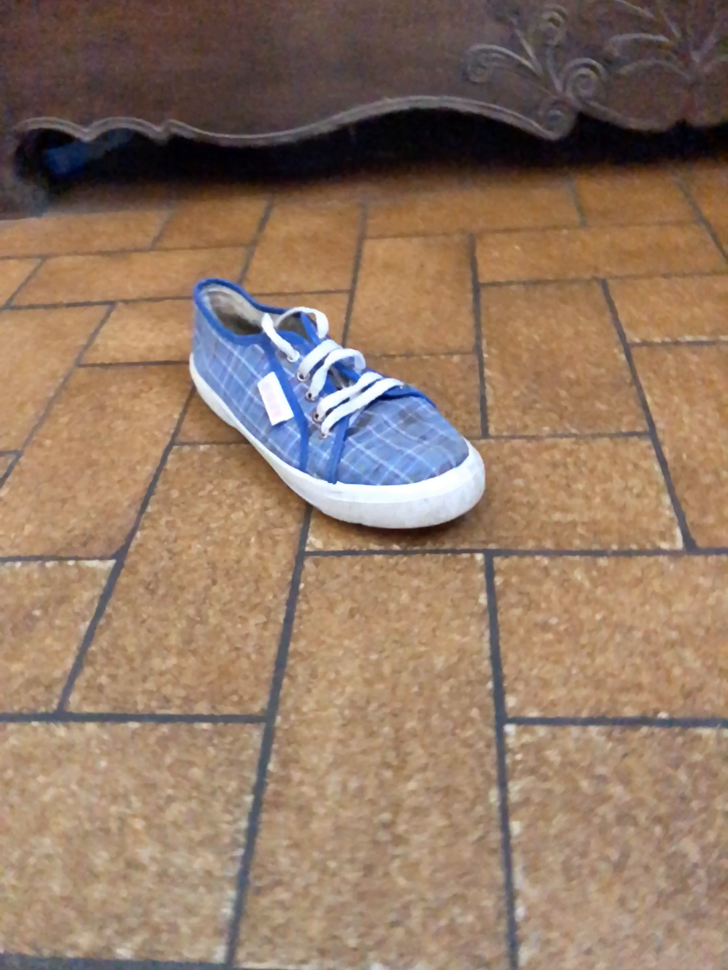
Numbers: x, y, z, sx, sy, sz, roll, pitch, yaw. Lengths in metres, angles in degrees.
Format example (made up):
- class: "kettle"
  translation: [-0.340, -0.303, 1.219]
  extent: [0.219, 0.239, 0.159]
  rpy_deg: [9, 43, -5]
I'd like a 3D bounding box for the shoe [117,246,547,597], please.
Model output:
- class: "shoe"
  translation: [-0.026, -0.052, 0.461]
  extent: [0.100, 0.080, 0.240]
  rpy_deg: [-34, 48, -29]
